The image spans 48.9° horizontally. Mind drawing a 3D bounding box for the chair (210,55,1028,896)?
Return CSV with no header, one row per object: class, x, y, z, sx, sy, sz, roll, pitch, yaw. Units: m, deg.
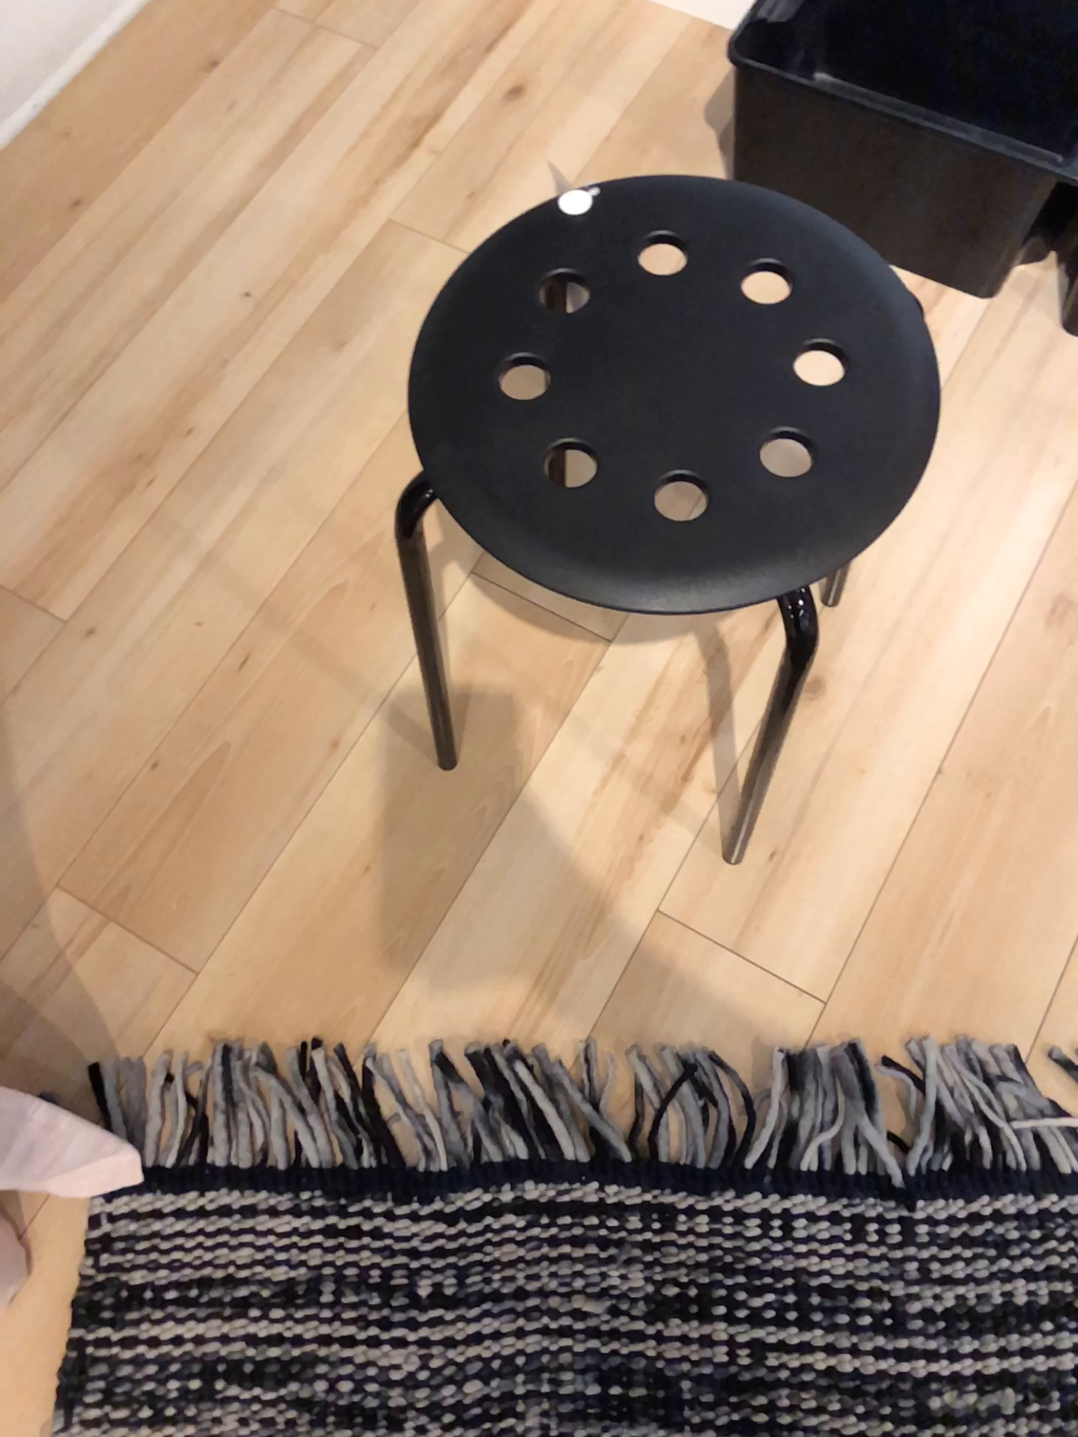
chair,0.067,-0.152,0.894,0.380,0.400,0.370,20,70,11
